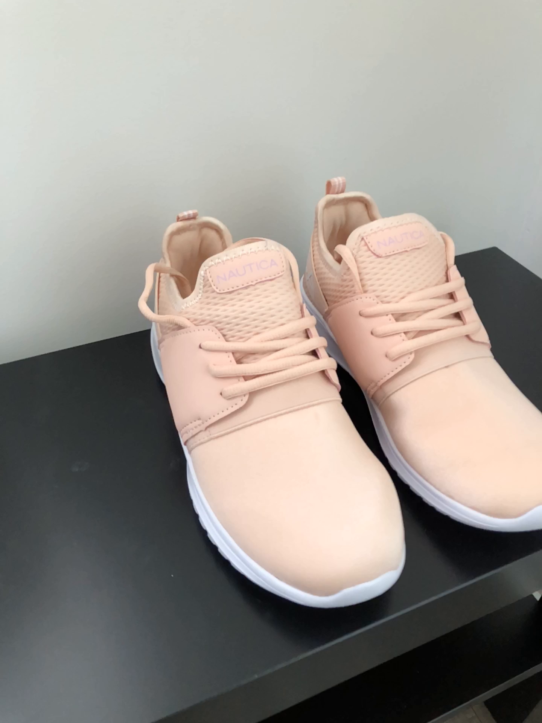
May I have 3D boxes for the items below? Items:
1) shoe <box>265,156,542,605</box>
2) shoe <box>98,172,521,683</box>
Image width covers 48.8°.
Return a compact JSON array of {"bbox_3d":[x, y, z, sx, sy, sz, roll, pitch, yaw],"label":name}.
[{"bbox_3d":[0.090,-0.014,0.339,0.100,0.110,0.241,-15,42,-19],"label":"shoe"},{"bbox_3d":[-0.009,0.005,0.318,0.100,0.110,0.251,-15,42,-19],"label":"shoe"}]
